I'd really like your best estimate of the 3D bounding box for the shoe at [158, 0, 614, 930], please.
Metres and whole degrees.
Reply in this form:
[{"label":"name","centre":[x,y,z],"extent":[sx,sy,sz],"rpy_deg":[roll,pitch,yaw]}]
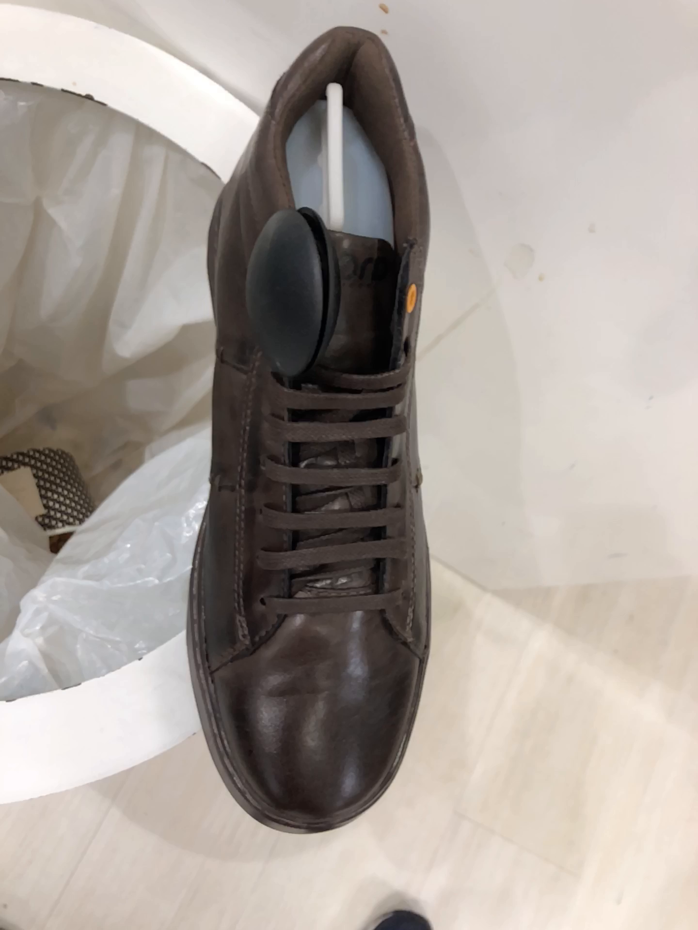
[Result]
[{"label":"shoe","centre":[-0.005,-0.004,0.292],"extent":[0.120,0.140,0.270],"rpy_deg":[2,79,-15]}]
